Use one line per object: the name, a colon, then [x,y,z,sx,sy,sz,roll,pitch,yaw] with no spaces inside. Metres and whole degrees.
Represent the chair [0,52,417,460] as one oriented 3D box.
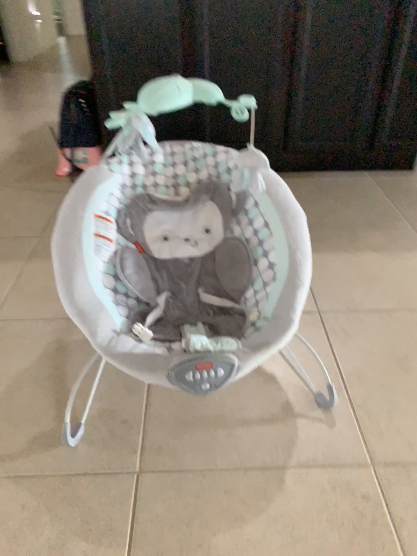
chair: [-0.040,-0.084,0.865,0.571,0.578,0.550,-4,35,-5]
